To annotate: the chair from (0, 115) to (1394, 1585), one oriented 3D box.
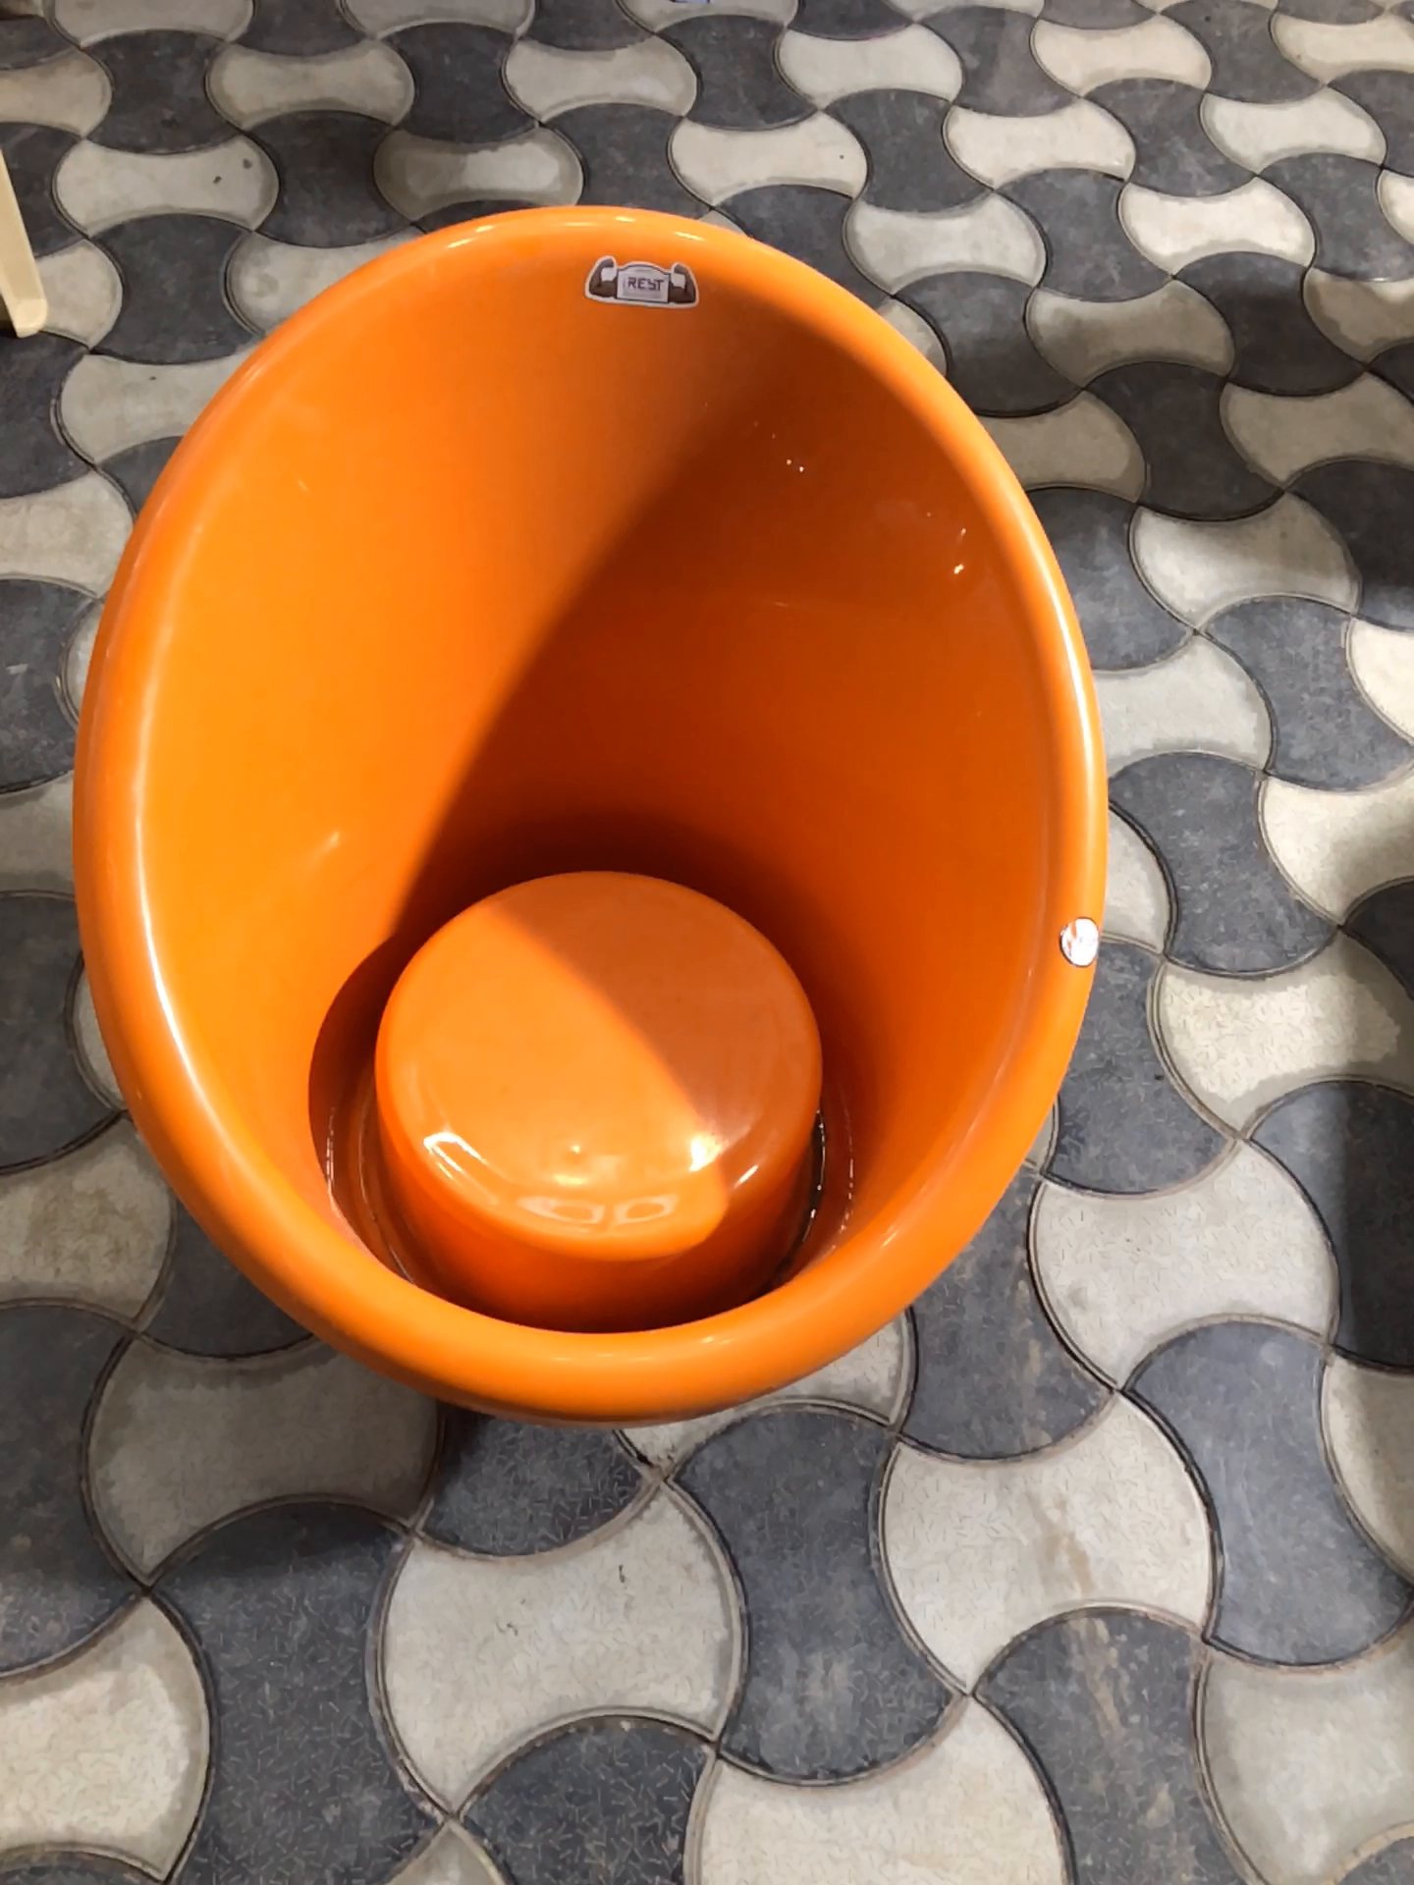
[{"bbox_3d":[-0.095,-0.029,1.061,0.660,0.667,0.723,1,54,-5],"label":"chair"}]
